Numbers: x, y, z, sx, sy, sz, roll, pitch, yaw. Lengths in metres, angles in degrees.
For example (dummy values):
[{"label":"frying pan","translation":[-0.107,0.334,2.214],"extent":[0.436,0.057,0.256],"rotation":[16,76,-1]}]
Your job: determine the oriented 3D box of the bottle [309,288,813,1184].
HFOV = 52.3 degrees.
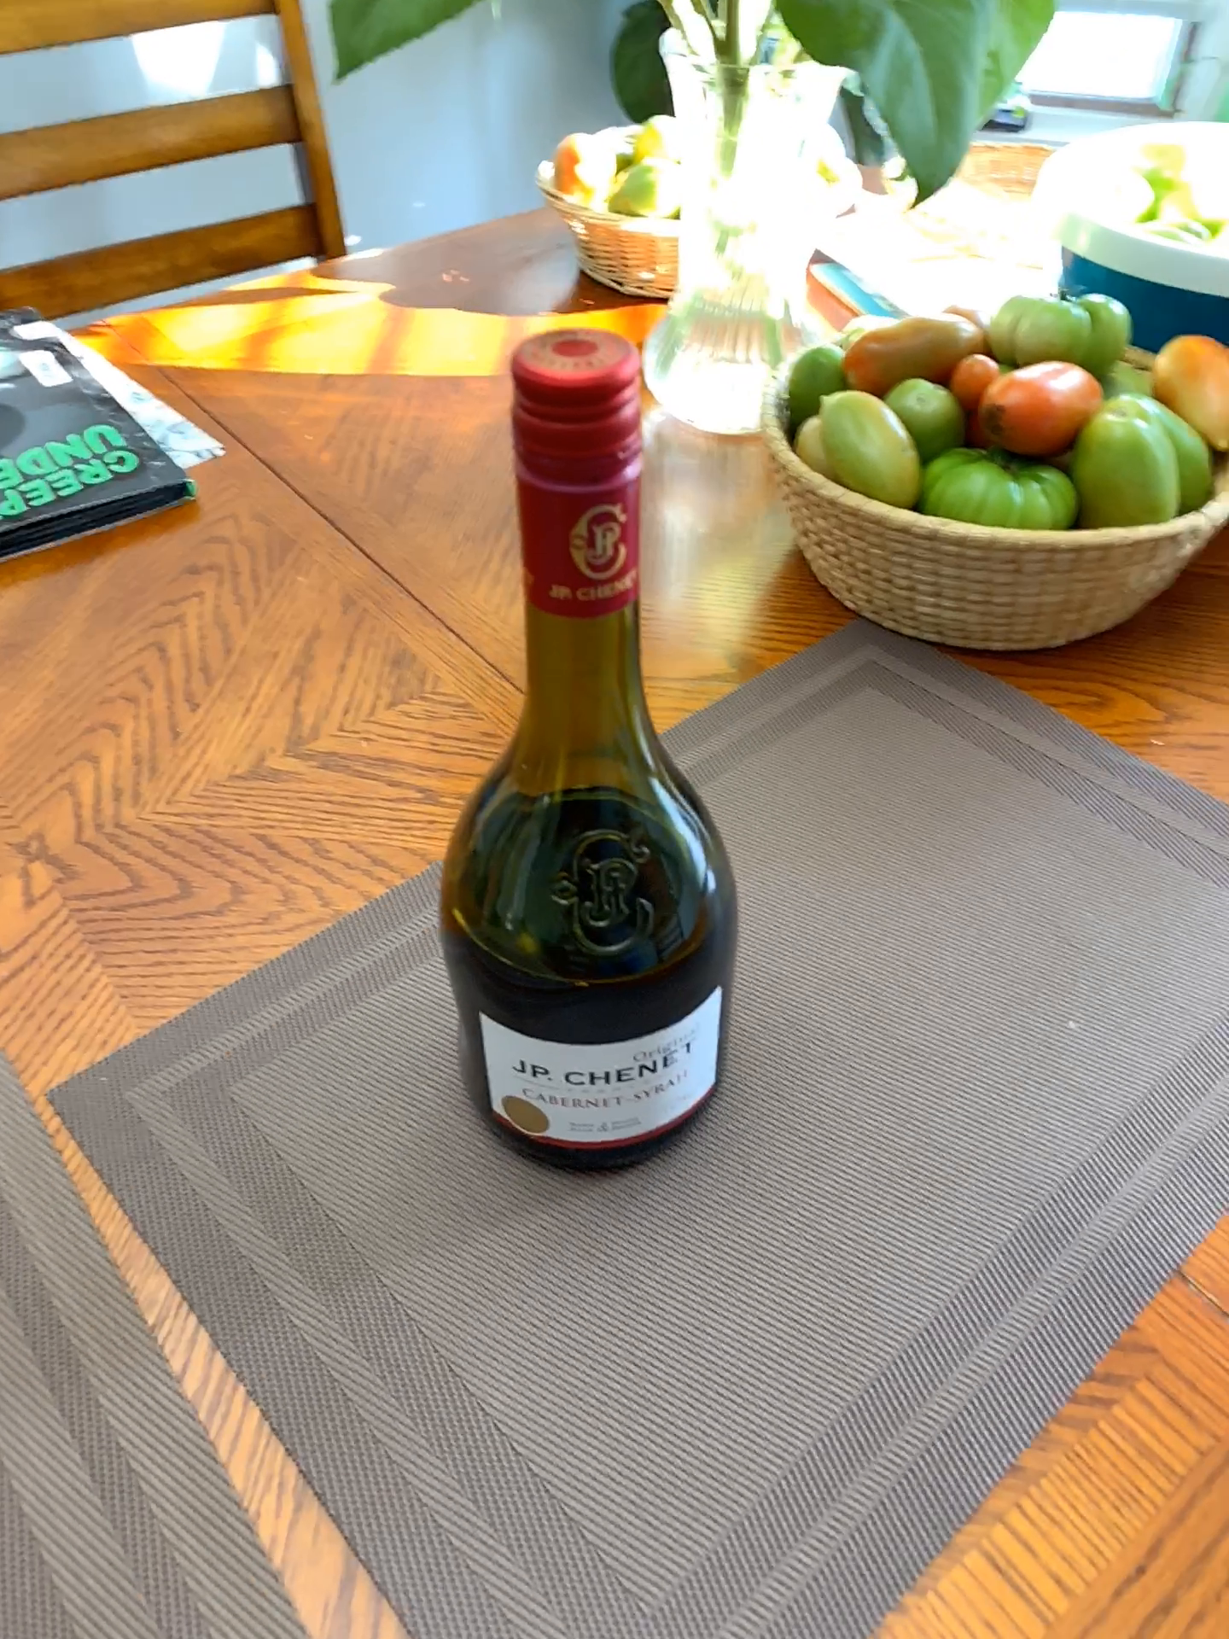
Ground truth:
[{"label":"bottle","translation":[-0.009,-0.007,0.373],"extent":[0.100,0.258,0.101],"rotation":[0,43,0]}]
